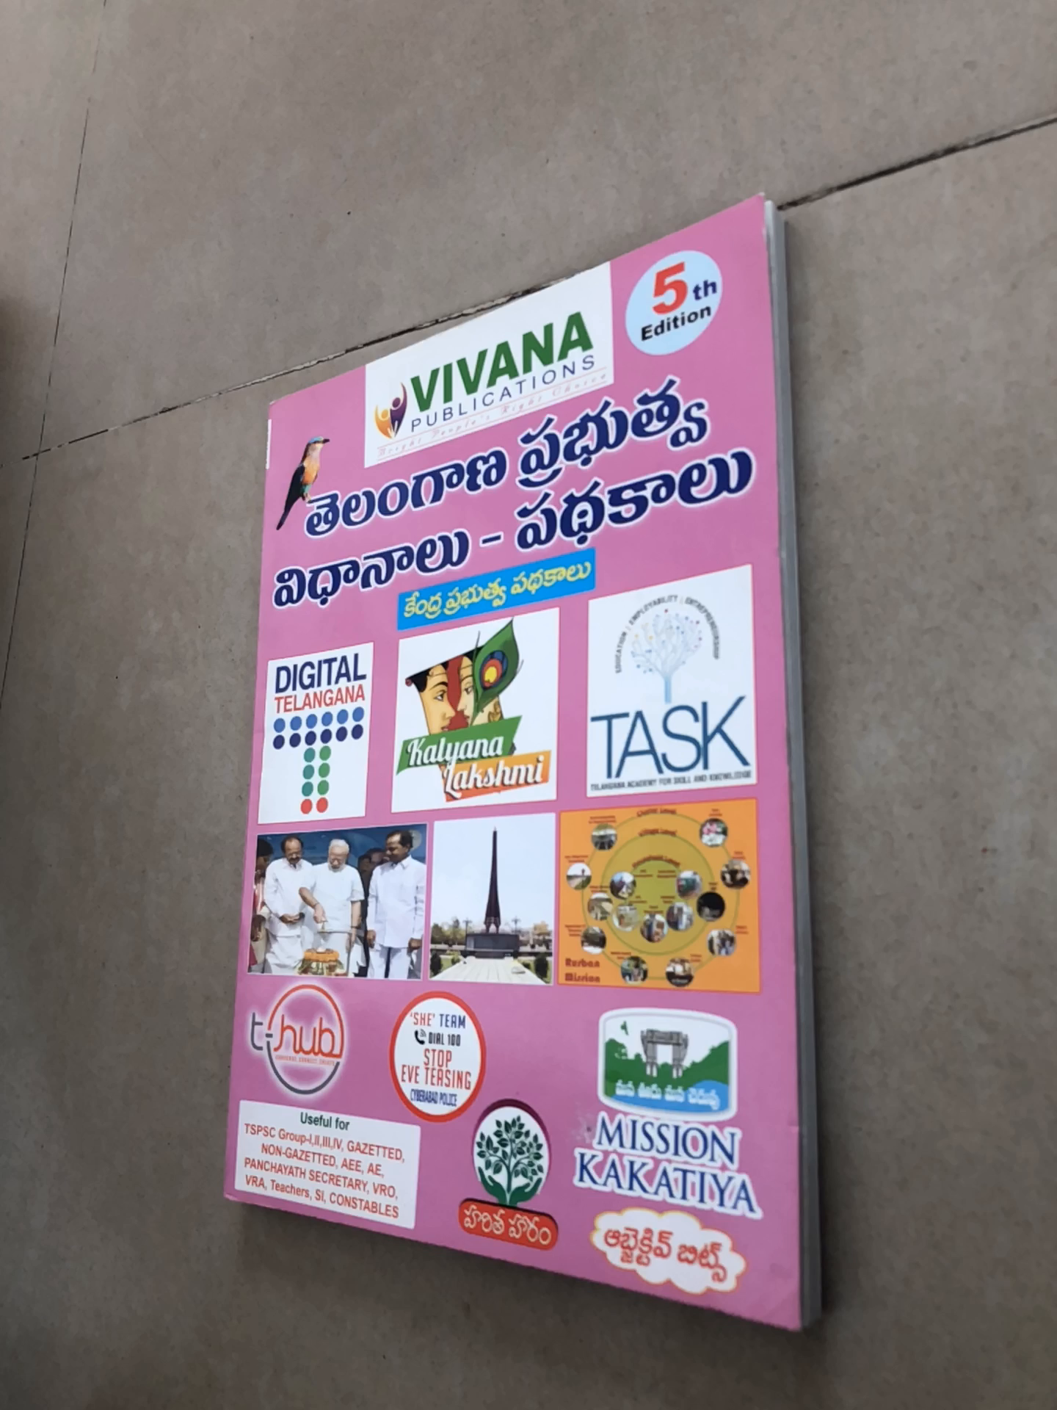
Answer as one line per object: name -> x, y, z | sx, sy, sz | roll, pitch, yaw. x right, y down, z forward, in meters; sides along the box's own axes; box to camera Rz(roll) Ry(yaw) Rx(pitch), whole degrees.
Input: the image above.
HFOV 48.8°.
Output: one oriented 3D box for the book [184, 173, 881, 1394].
book -> -0.010, 0.017, 0.333 | 0.201, 0.040, 0.270 | -8, 75, 37
